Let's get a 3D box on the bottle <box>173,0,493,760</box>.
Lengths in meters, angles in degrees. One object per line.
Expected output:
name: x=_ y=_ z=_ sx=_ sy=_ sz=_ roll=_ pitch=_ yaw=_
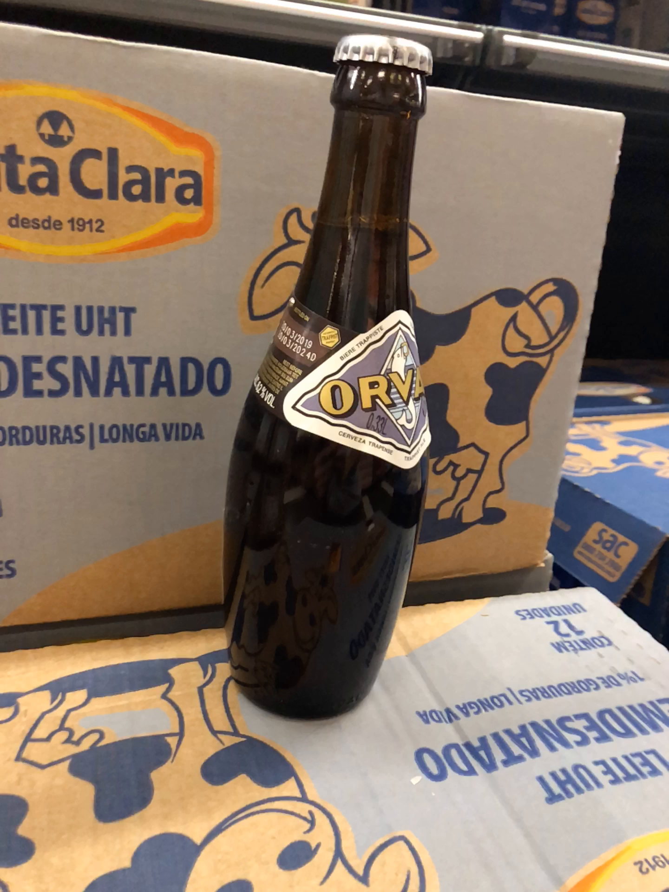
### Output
bottle: x=-0.005 y=-0.018 z=0.241 sx=0.060 sy=0.209 sz=0.070 roll=17 pitch=21 yaw=37
